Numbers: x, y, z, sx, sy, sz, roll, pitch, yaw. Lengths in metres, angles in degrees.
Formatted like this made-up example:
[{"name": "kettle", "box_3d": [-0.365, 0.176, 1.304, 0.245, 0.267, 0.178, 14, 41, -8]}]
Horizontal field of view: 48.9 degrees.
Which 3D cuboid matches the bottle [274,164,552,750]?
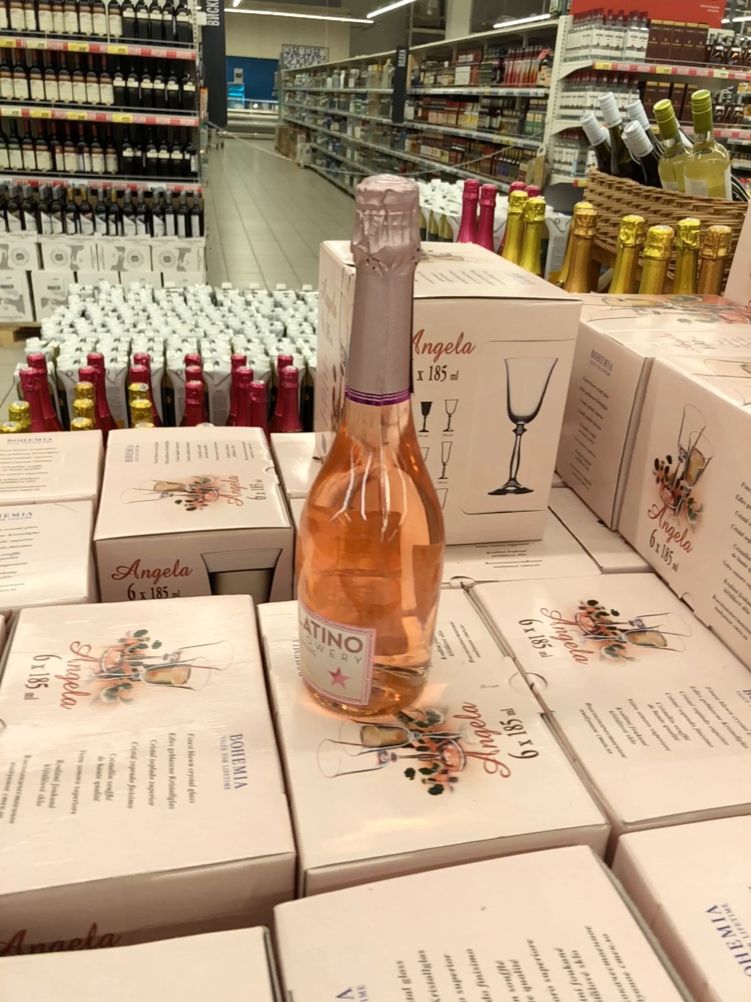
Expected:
[{"name": "bottle", "box_3d": [0.009, -0.024, 0.478, 0.100, 0.308, 0.100, 3, 25, -1]}]
